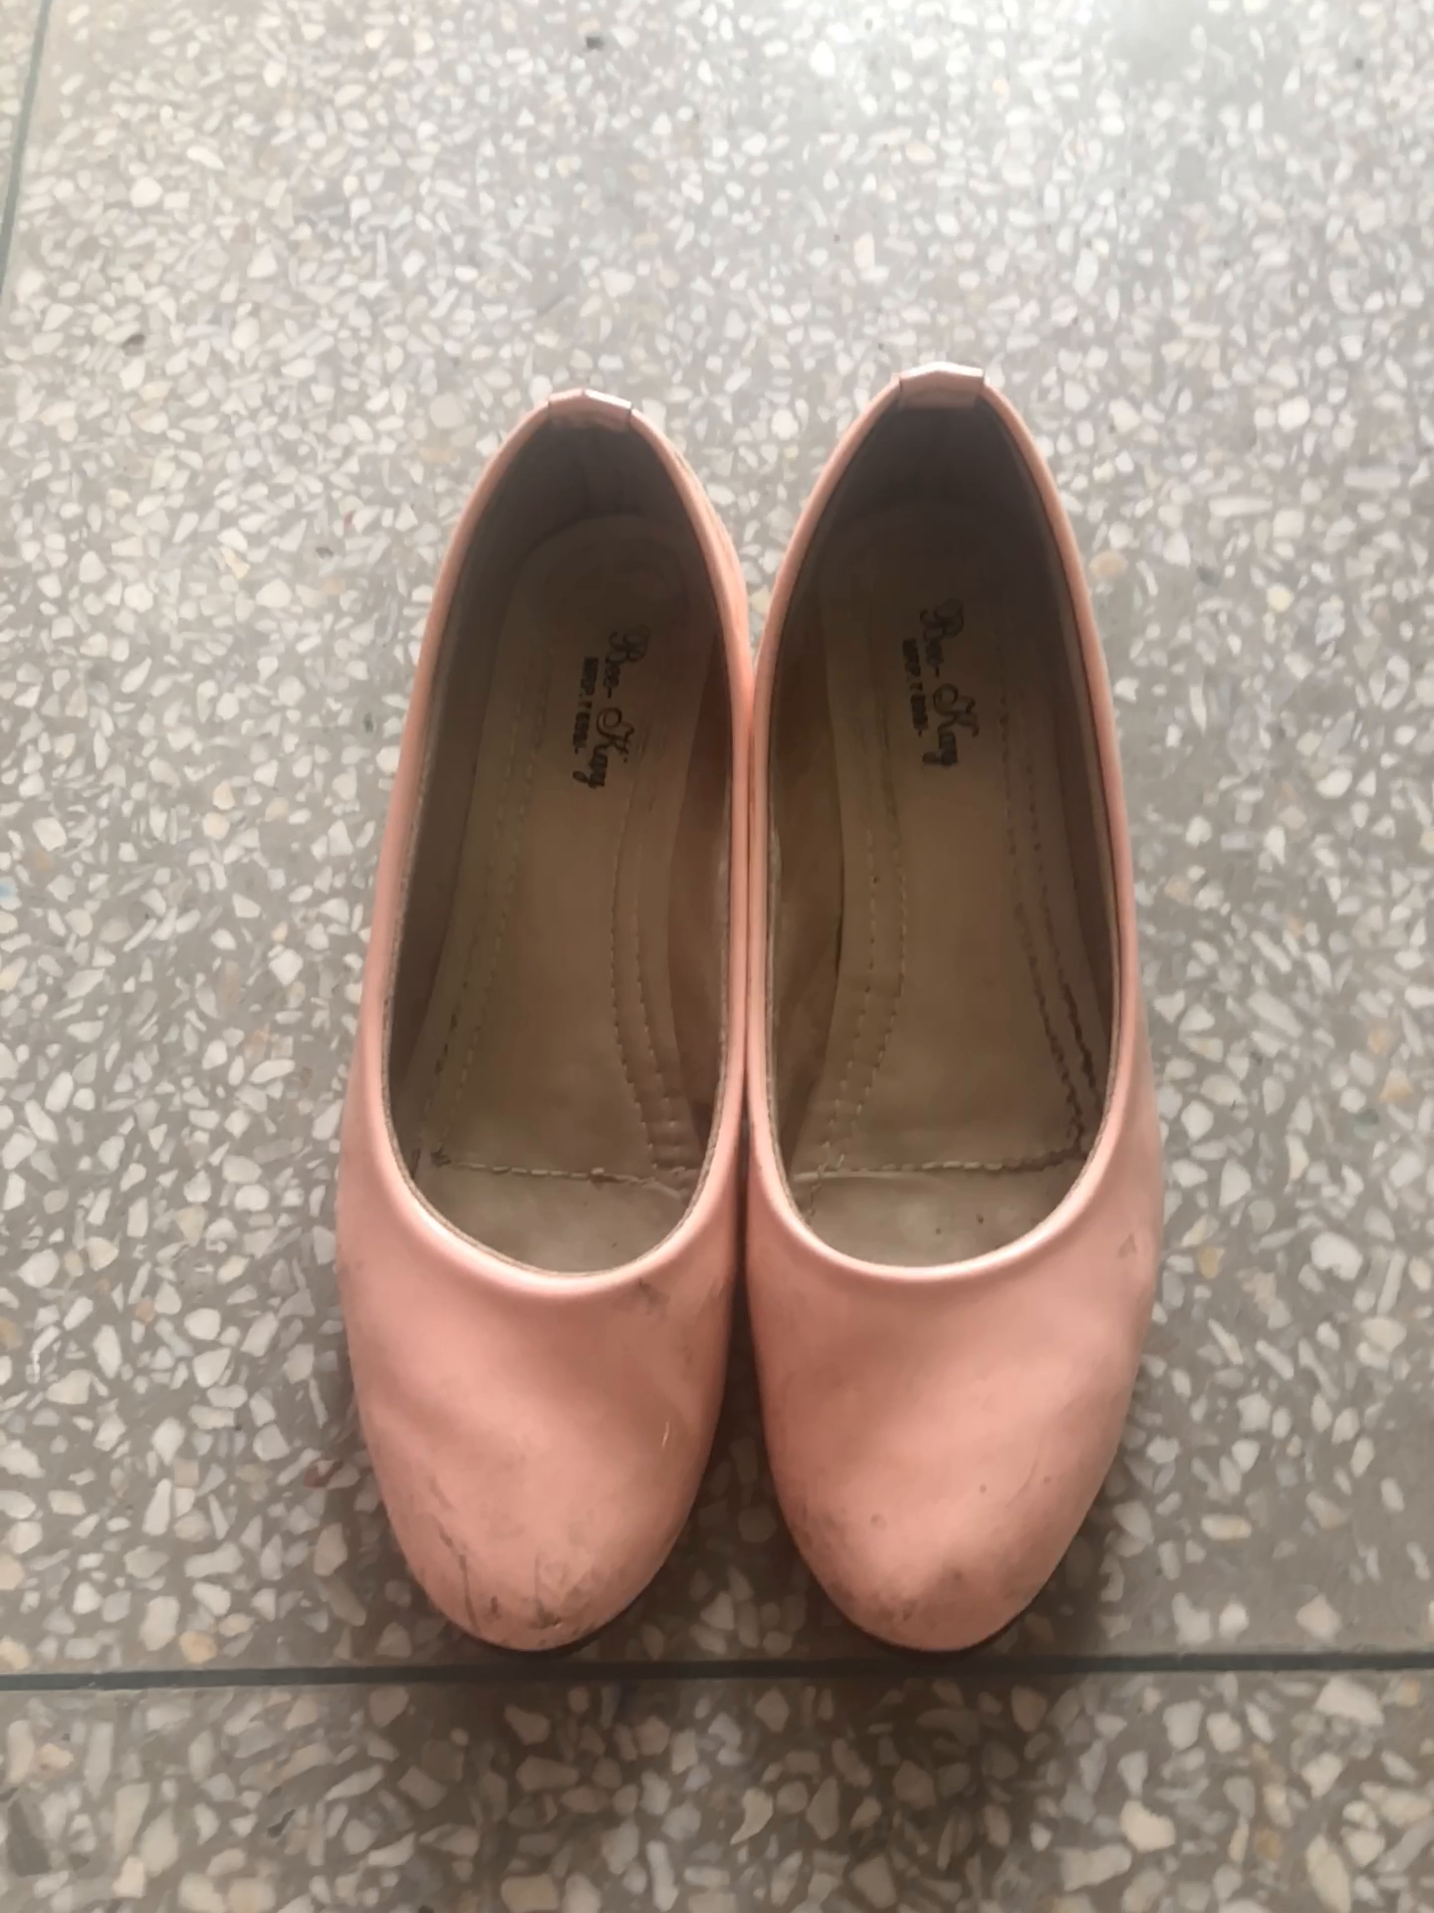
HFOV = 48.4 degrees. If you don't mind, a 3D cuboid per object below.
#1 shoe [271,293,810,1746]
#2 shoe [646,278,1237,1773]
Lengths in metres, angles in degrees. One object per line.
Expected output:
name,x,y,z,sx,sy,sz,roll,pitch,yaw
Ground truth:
shoe,-0.028,0.008,0.323,0.090,0.070,0.260,0,84,5
shoe,0.040,0.005,0.310,0.090,0.070,0.260,0,76,5
